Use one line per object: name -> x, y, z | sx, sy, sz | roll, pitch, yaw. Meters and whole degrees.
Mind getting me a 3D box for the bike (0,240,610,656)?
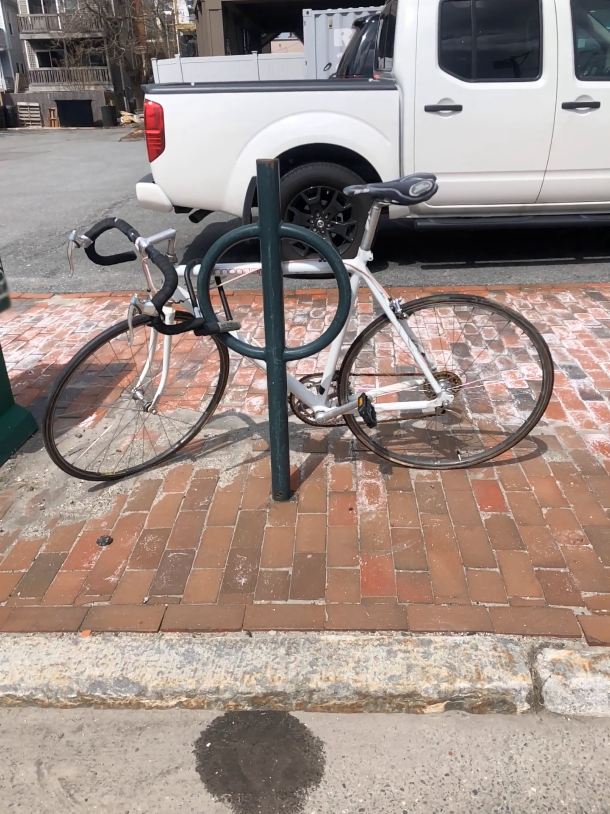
bike -> 0.005, 0.057, 1.582 | 1.274, 0.650, 0.467 | -7, 25, -4
